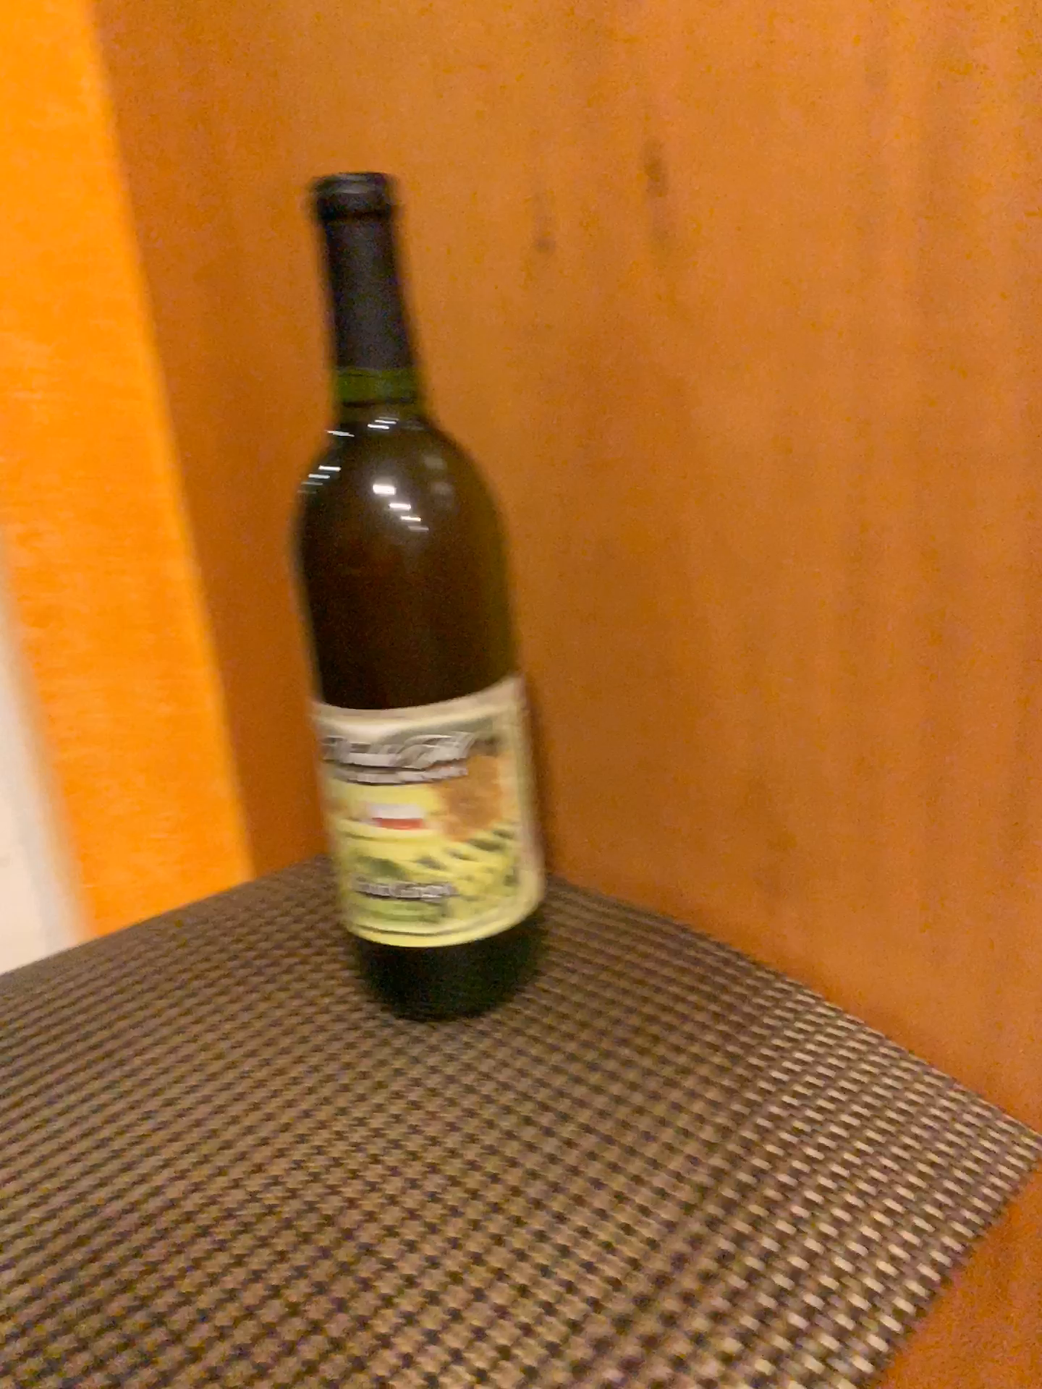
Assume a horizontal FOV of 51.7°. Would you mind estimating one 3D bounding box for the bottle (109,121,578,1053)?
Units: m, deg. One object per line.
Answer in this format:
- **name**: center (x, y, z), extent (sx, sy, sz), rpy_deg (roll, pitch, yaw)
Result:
- **bottle**: center (-0.047, -0.029, 0.358), extent (0.090, 0.269, 0.080), rpy_deg (4, 19, 27)
